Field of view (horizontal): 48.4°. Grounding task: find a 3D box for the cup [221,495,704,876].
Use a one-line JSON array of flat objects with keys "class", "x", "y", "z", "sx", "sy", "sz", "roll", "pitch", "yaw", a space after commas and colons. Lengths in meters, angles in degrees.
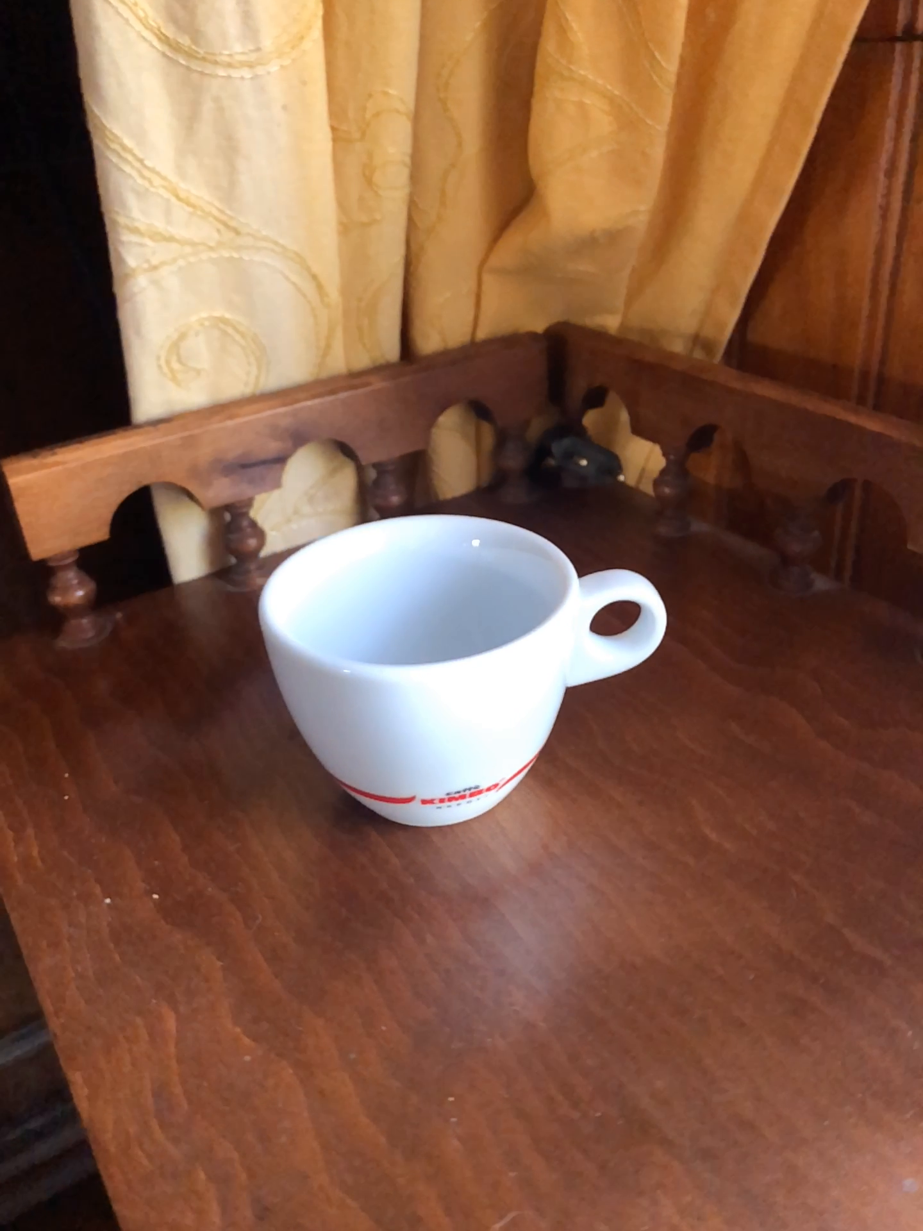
[{"class": "cup", "x": -0.003, "y": 0.013, "z": 0.283, "sx": 0.110, "sy": 0.050, "sz": 0.090, "roll": -7, "pitch": 30, "yaw": -5}]
